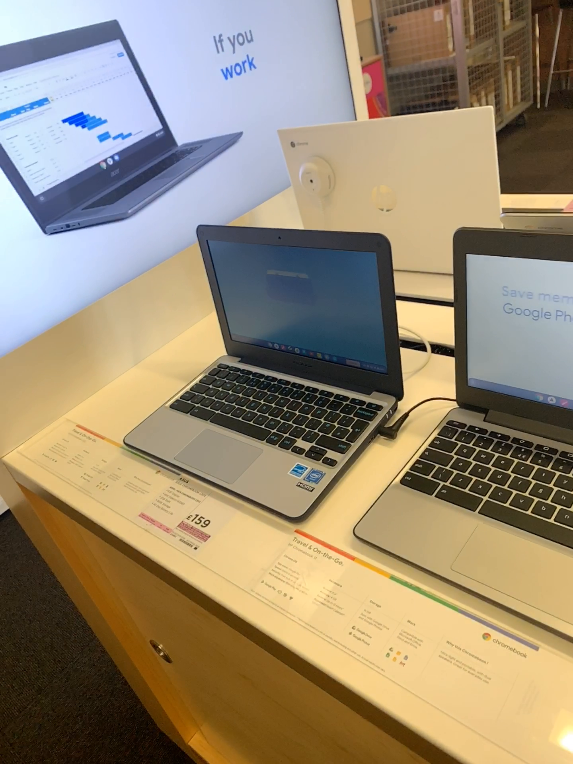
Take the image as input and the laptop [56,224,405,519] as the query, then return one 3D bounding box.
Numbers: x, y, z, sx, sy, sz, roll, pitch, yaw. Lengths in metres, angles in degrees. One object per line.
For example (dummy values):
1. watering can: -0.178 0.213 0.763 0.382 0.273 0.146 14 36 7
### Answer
1. laptop: -0.056 -0.038 0.650 0.281 0.183 0.216 14 44 39
